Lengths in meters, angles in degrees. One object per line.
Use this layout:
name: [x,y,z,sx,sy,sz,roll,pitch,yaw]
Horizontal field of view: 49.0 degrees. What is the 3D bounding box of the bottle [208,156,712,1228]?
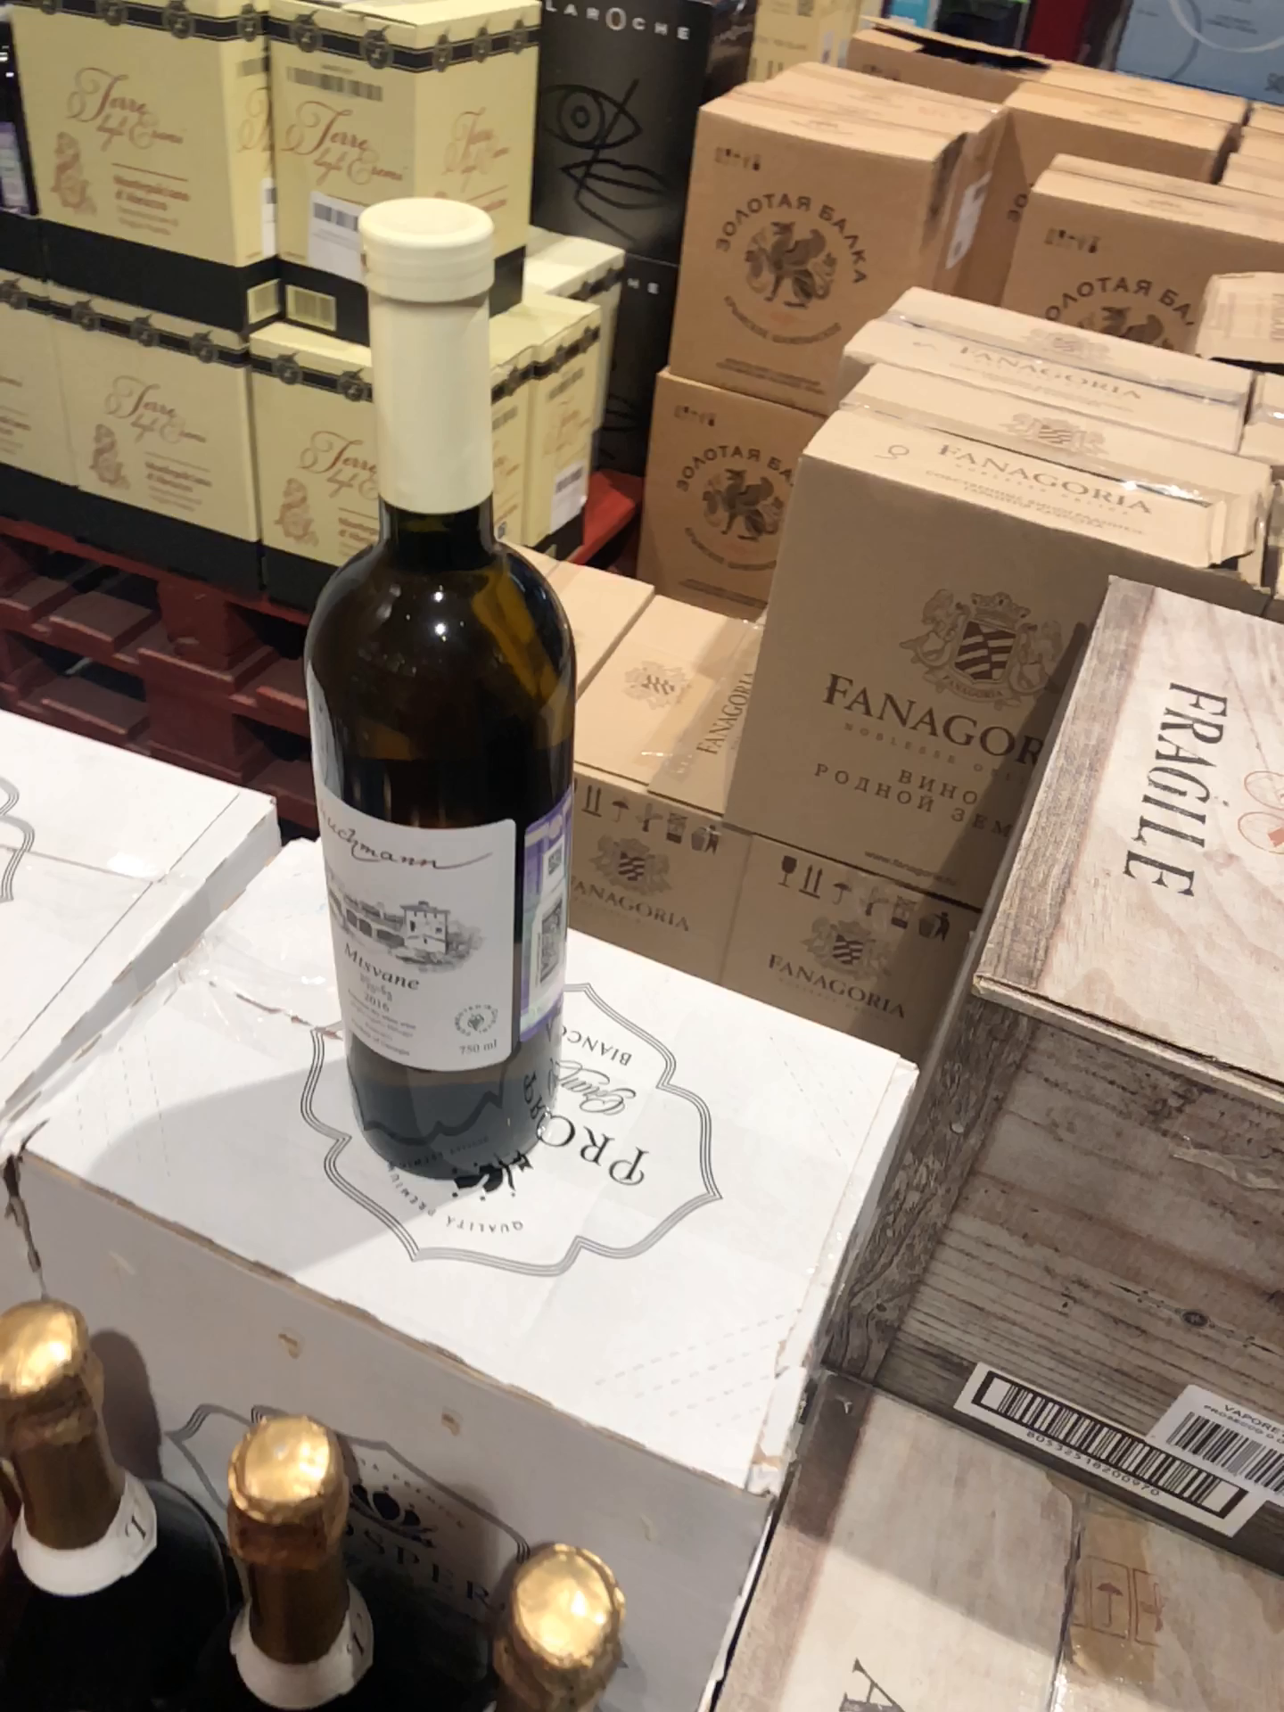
bottle: [-0.054,-0.026,0.397,0.080,0.288,0.073,5,40,-4]
